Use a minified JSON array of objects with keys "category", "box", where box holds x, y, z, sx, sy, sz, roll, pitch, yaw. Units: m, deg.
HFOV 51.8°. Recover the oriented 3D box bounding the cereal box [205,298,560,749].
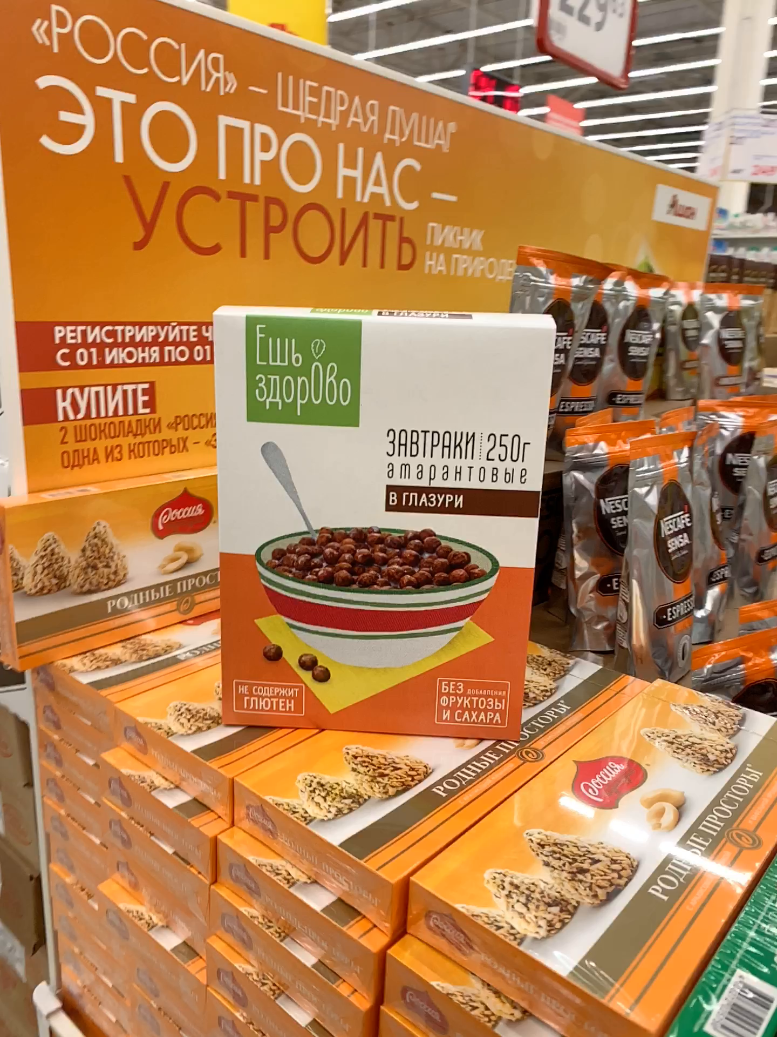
[{"category":"cereal box","box":[-0.008,0.003,0.489,0.190,0.259,0.060,3,15,2]}]
